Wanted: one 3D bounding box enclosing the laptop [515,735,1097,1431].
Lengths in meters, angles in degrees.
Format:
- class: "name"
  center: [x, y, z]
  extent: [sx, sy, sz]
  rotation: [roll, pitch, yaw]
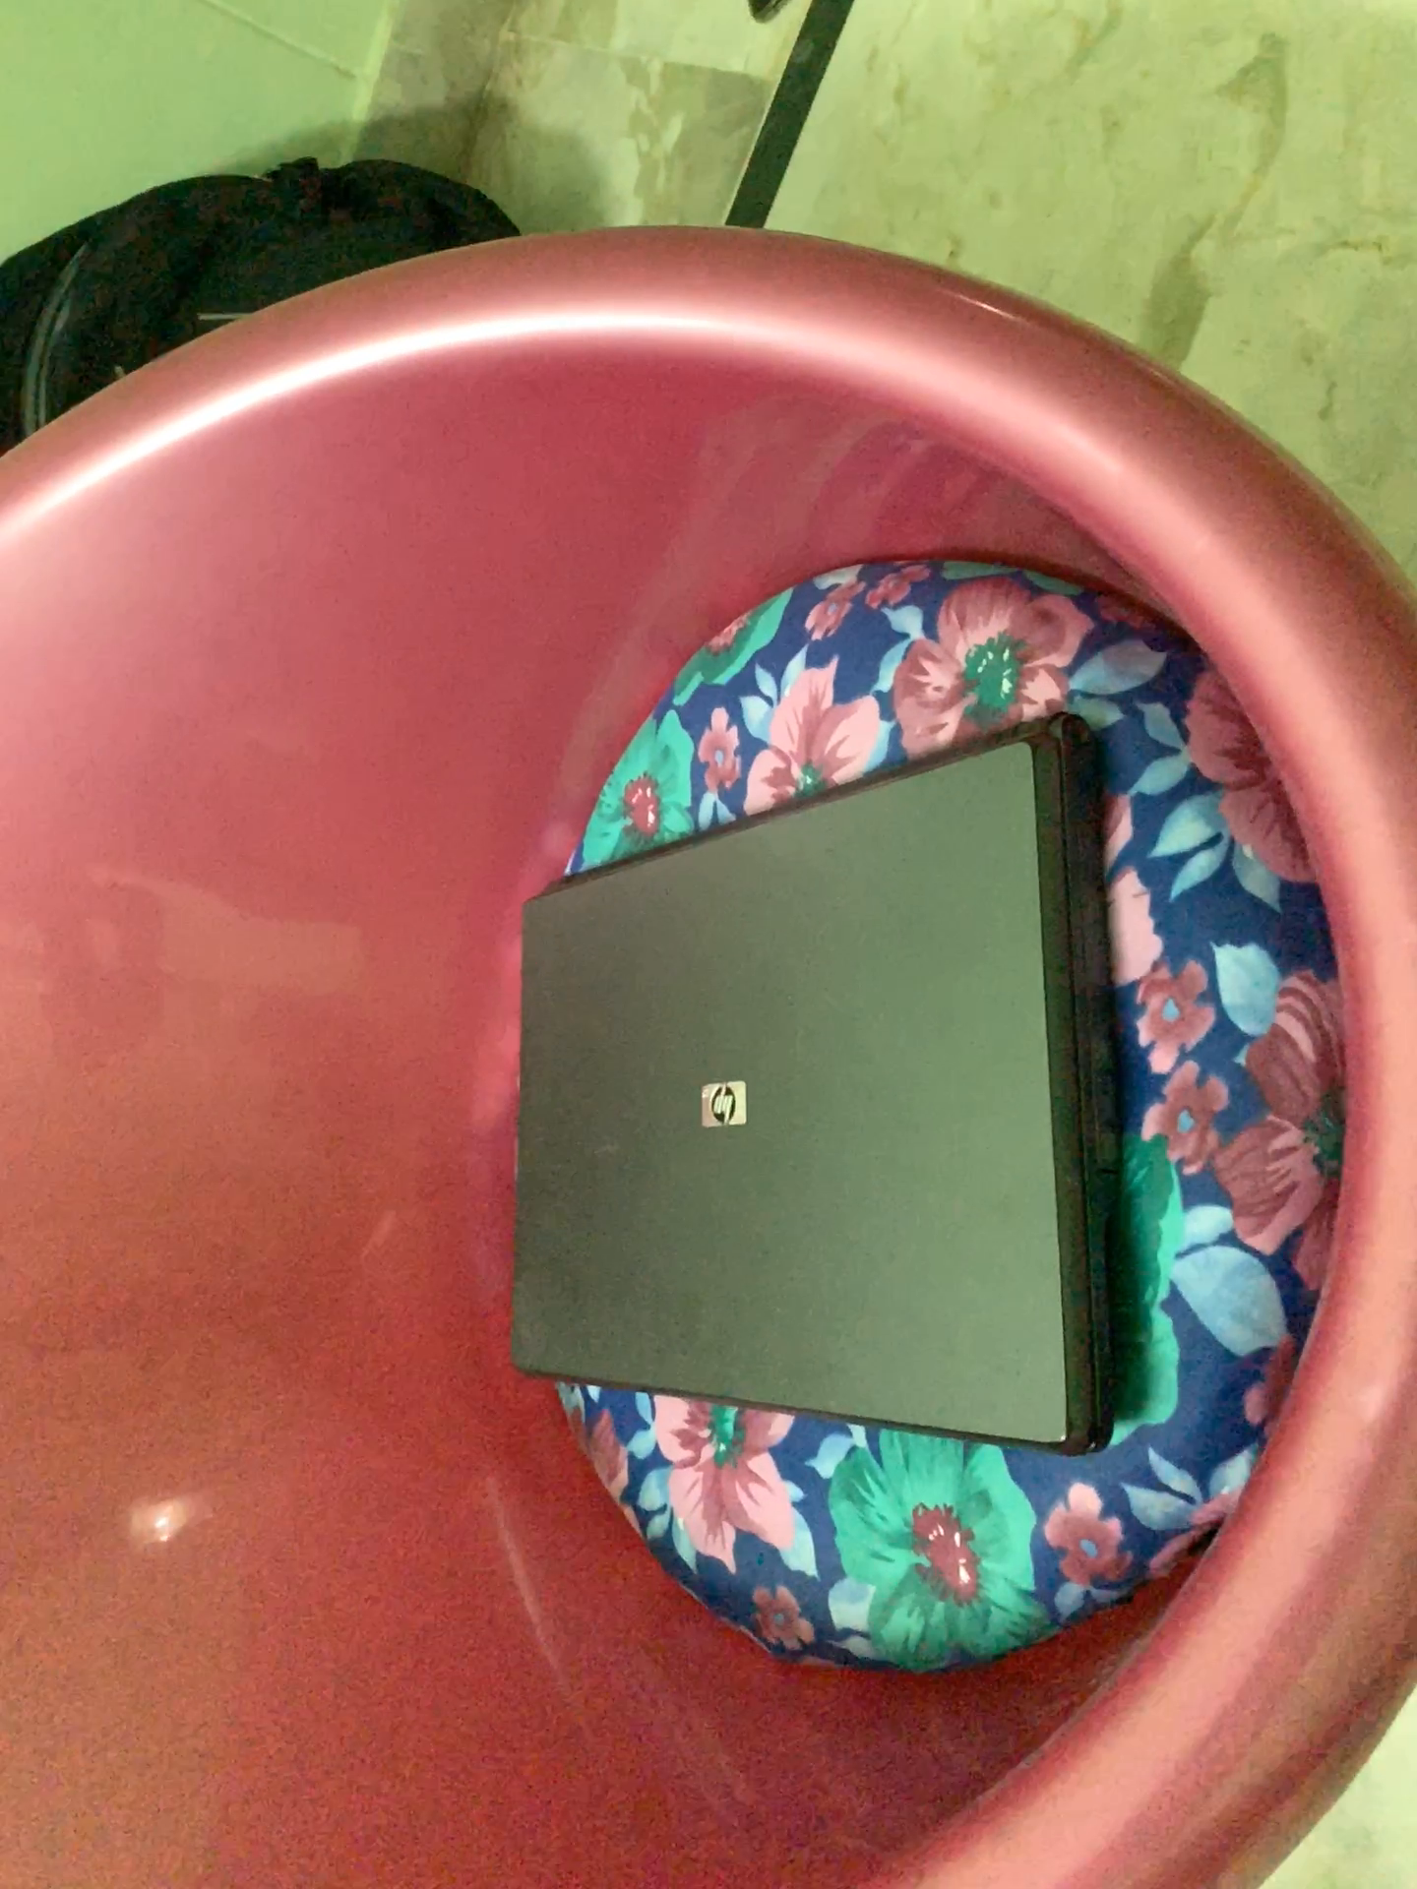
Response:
- class: "laptop"
  center: [0.014, 0.061, 0.574]
  extent: [0.305, 0.003, 0.222]
  rotation: [-12, 75, 47]
